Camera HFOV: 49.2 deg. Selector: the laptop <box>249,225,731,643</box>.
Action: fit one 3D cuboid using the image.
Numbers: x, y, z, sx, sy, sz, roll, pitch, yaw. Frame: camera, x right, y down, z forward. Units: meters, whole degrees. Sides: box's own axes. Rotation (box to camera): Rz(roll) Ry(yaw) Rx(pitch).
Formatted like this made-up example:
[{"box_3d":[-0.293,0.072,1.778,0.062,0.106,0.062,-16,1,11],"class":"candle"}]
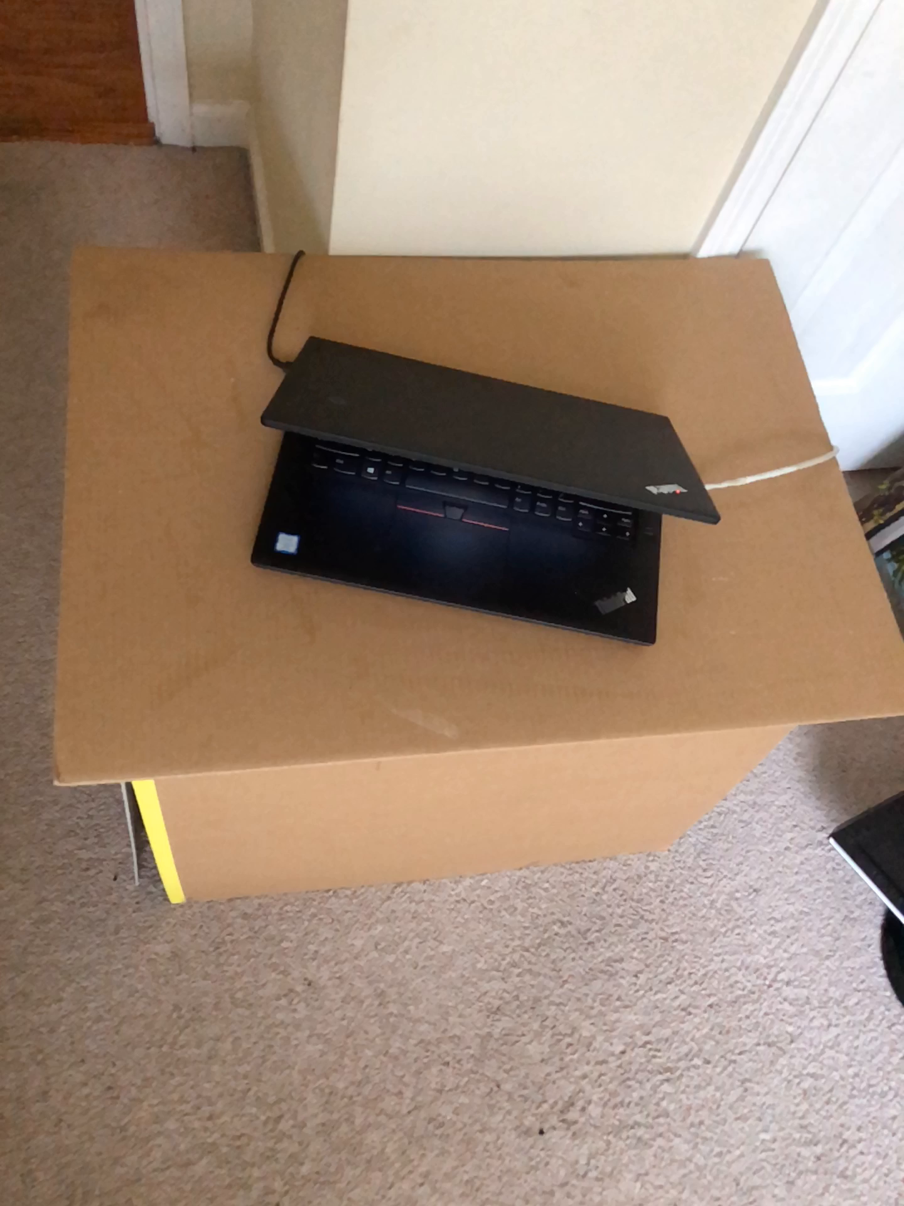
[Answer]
[{"box_3d":[0.034,-0.130,0.788,0.334,0.140,0.232,12,61,-5],"class":"laptop"}]
